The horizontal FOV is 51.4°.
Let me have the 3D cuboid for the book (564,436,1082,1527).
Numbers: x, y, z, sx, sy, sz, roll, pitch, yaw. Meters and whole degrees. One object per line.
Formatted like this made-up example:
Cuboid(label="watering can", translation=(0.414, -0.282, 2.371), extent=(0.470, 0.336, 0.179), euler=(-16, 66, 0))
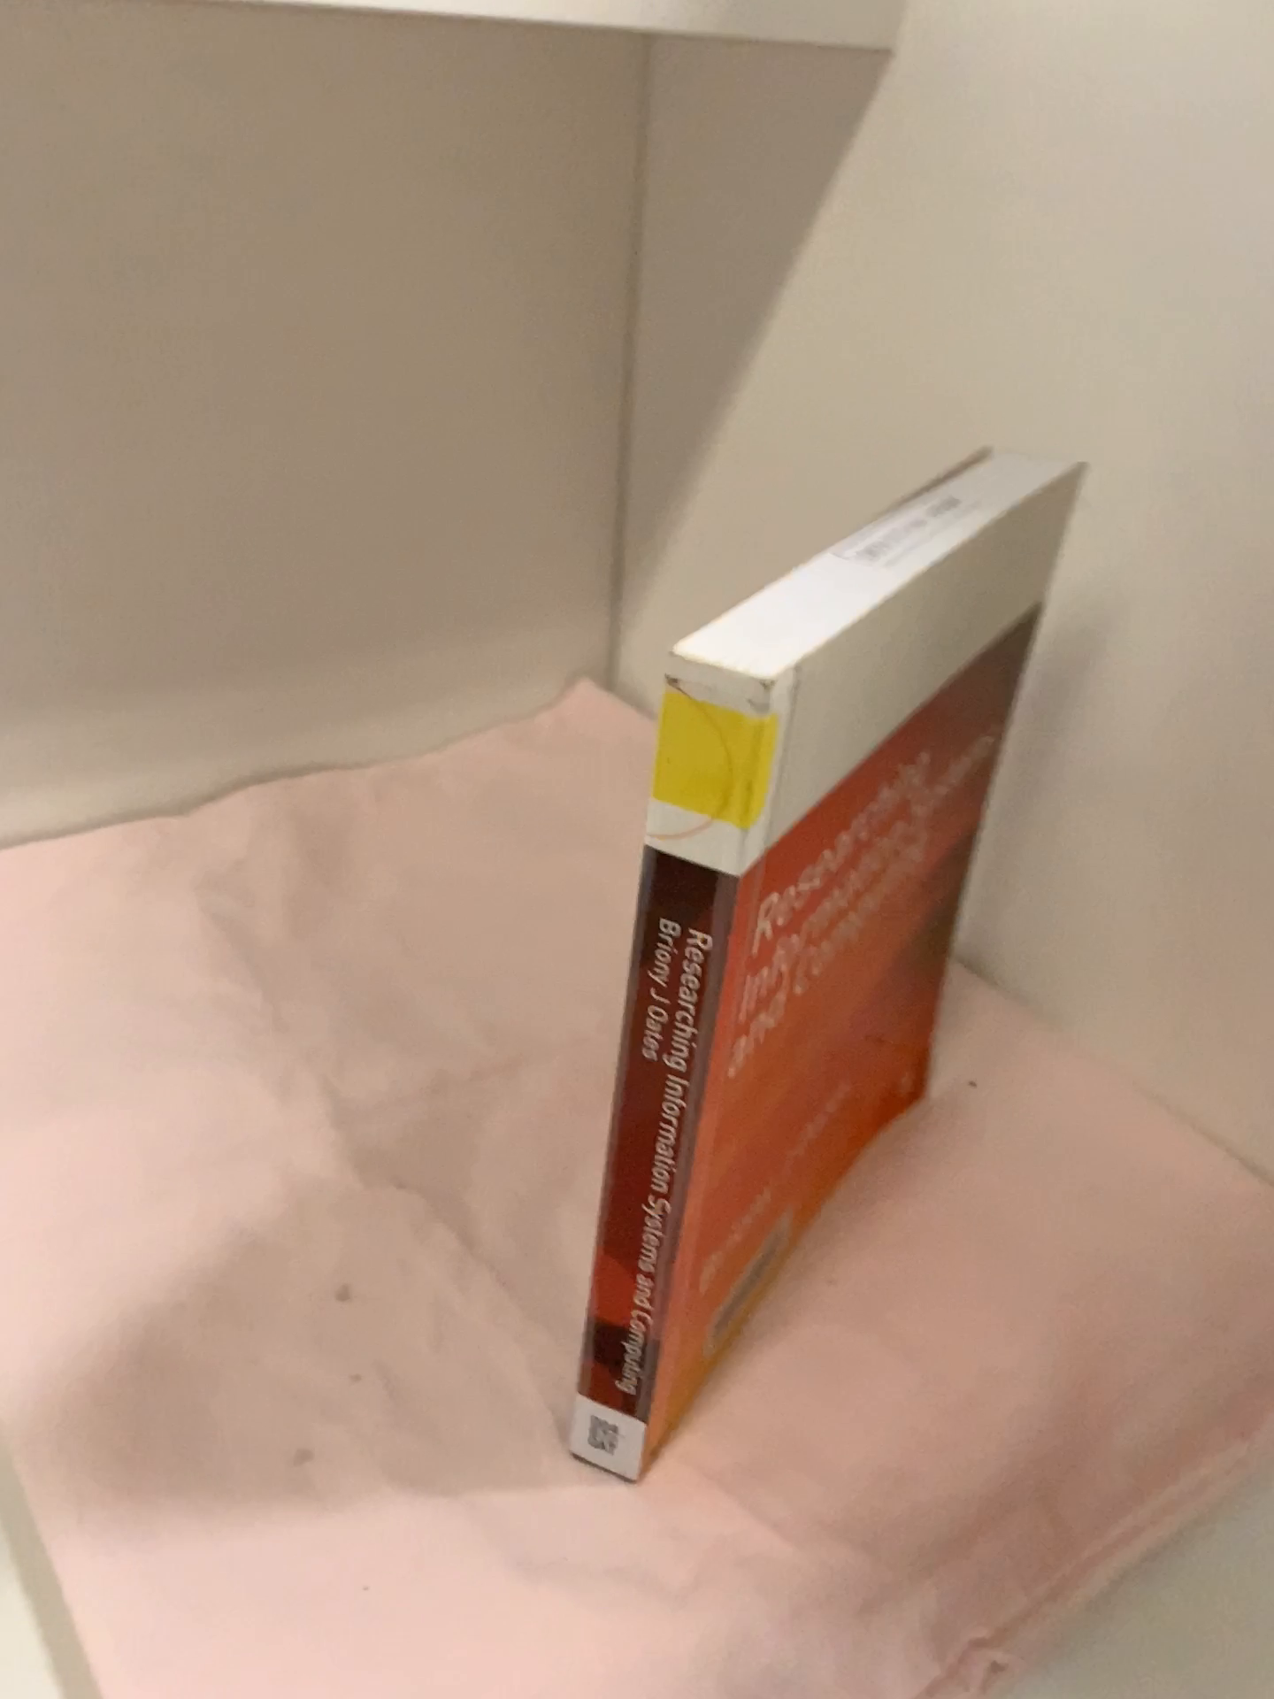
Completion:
Cuboid(label="book", translation=(0.053, 0.028, 0.363), extent=(0.026, 0.238, 0.202), euler=(21, 35, 23))
